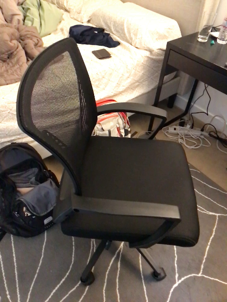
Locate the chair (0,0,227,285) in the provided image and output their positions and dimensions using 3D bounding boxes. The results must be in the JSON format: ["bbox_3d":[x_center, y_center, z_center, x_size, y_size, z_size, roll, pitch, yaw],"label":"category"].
[{"bbox_3d":[0.072,0.032,0.922,0.580,0.834,0.625,-1,48,9],"label":"chair"}]
